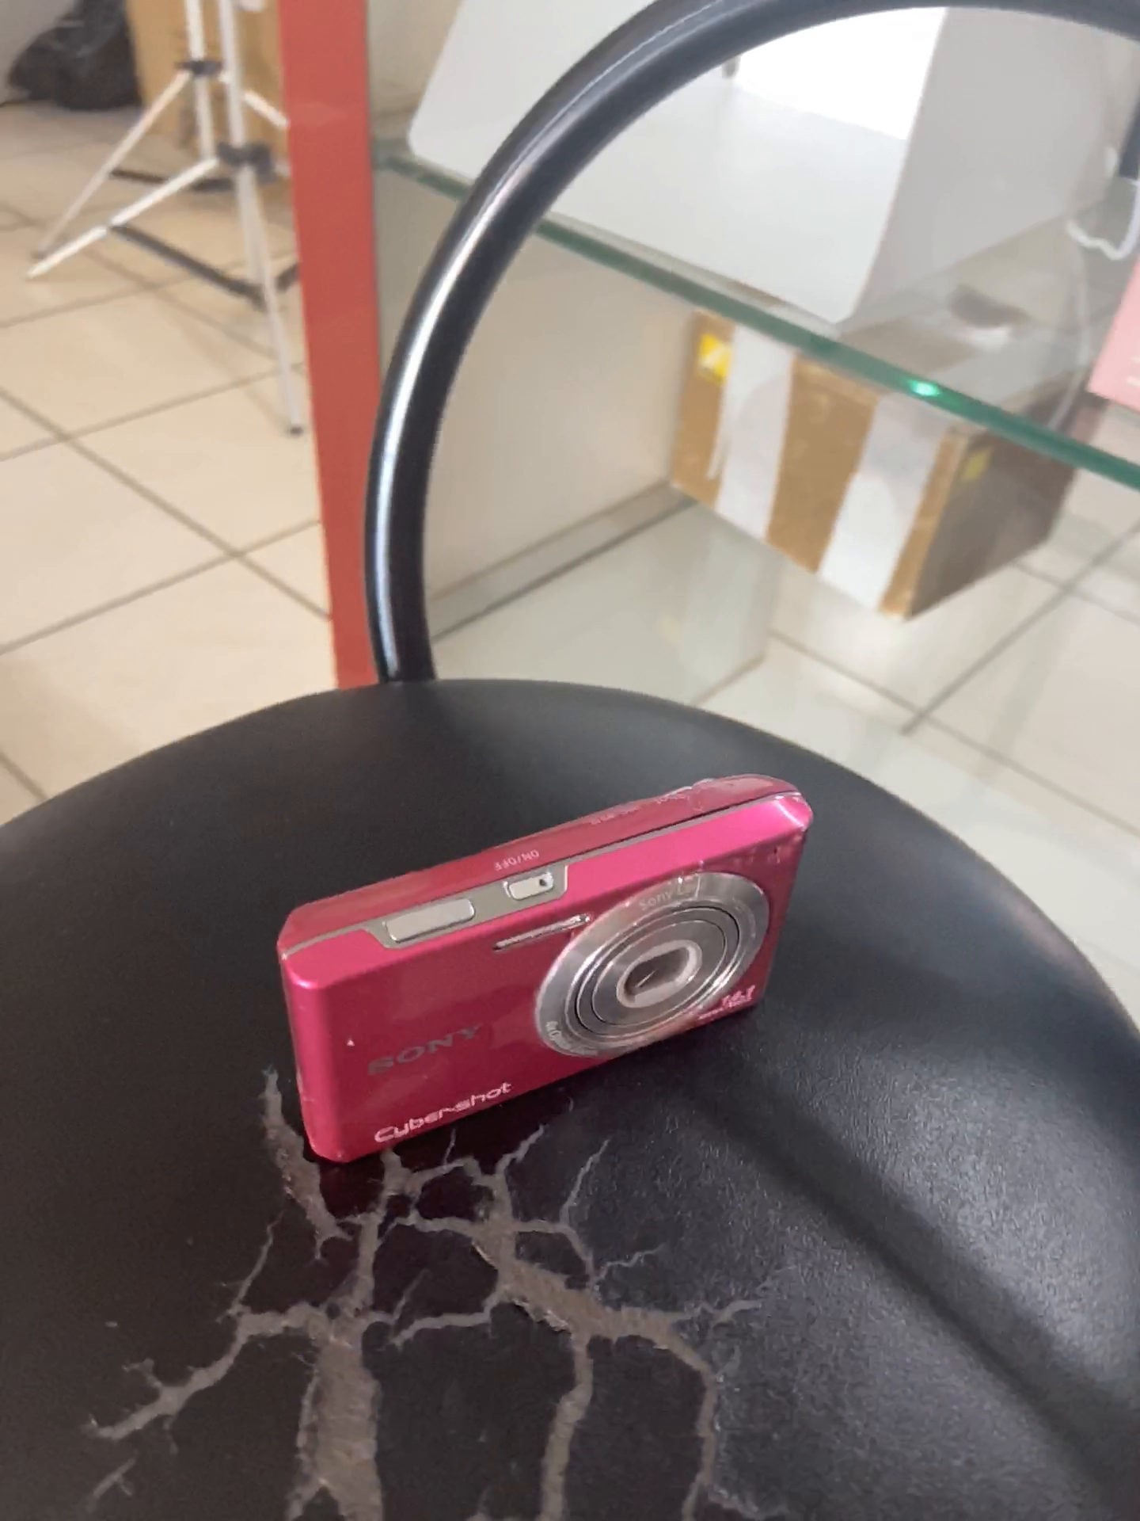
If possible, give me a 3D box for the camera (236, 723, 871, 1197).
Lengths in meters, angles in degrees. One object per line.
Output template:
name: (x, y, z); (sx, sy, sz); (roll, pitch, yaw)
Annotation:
camera: (-0.002, 0.033, 0.210); (0.100, 0.050, 0.030); (-15, 45, -20)
